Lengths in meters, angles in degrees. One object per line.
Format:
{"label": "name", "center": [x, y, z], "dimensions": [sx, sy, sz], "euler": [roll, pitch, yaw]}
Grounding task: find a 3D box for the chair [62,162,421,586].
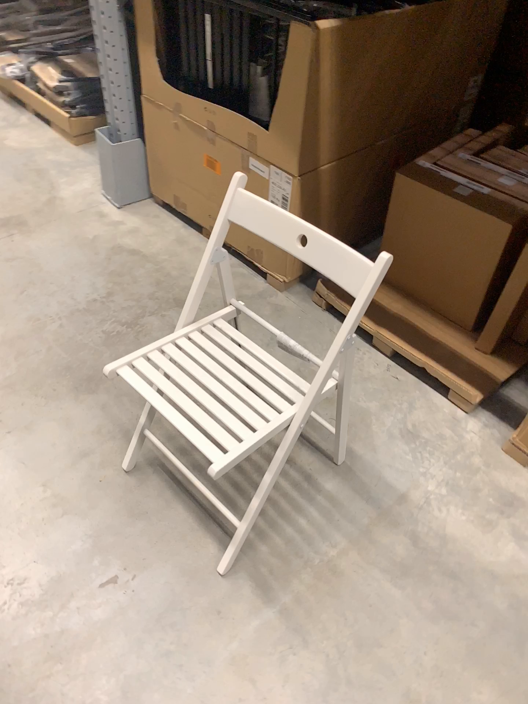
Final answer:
{"label": "chair", "center": [-0.052, 0.057, 1.199], "dimensions": [0.471, 0.707, 0.431], "euler": [-33, 55, -31]}
